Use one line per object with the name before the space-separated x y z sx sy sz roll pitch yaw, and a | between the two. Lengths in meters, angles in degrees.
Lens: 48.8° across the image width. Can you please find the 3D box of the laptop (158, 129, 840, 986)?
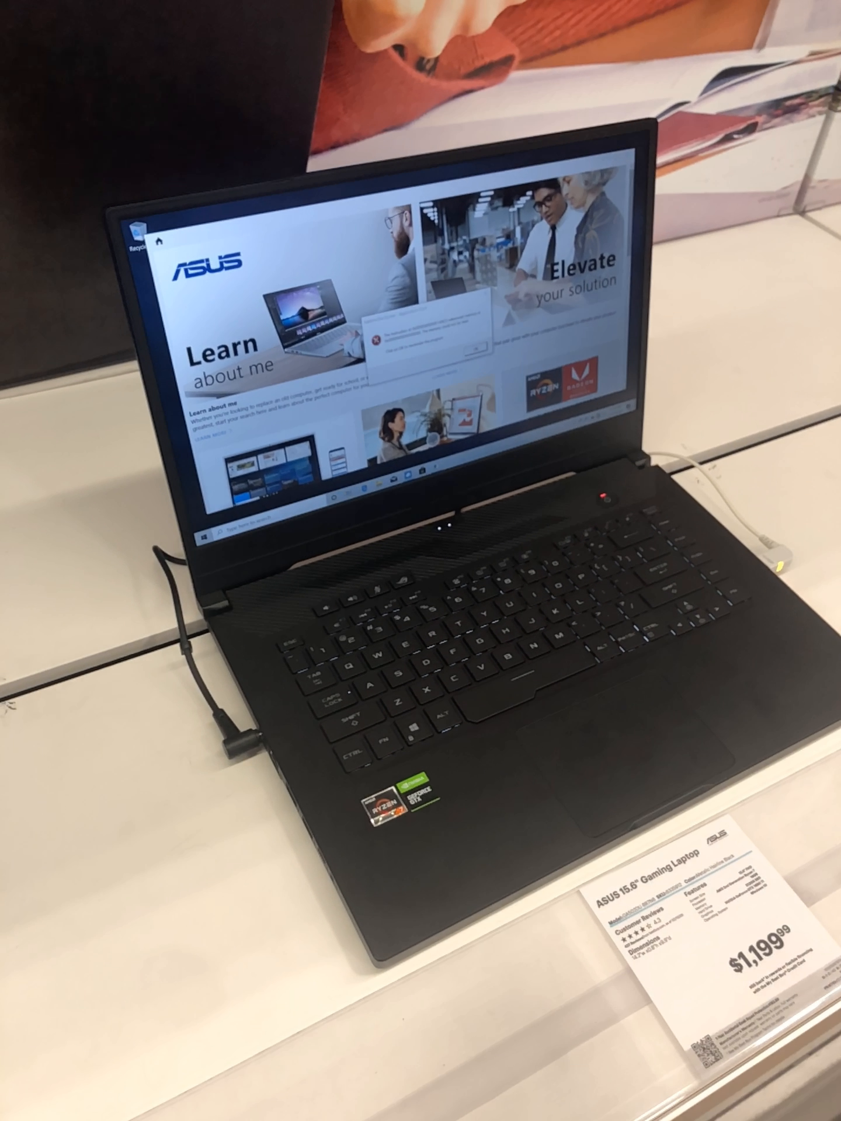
laptop | 0.093 -0.039 0.497 0.352 0.222 0.310 -19 49 -22
